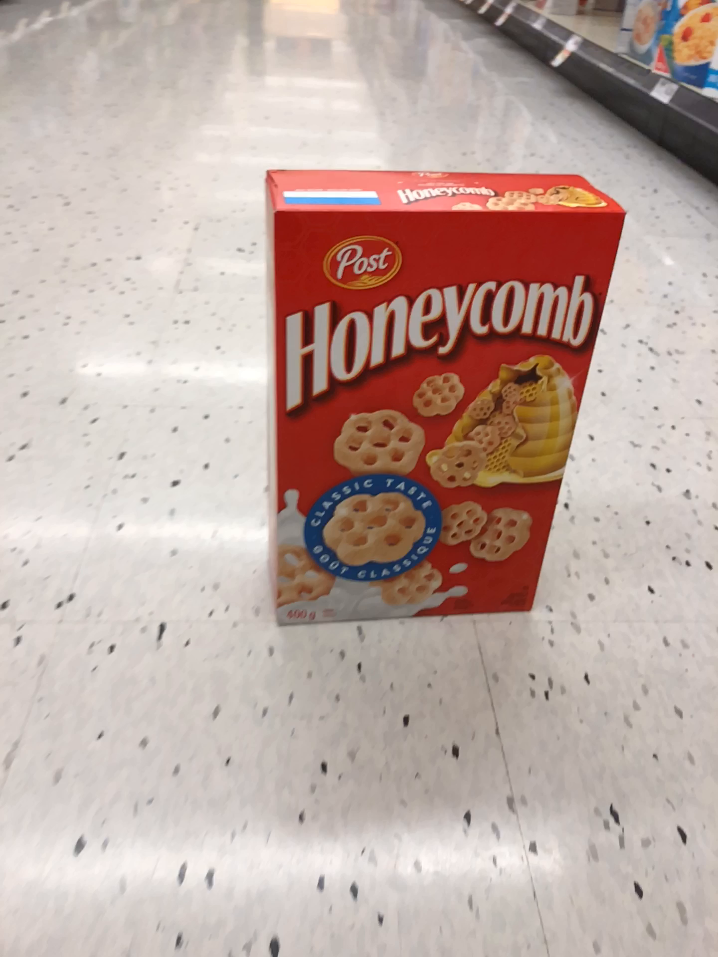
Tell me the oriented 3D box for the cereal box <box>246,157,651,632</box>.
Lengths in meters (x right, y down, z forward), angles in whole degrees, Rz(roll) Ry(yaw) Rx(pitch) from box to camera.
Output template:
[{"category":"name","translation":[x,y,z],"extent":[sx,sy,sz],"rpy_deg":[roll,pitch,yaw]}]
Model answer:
[{"category":"cereal box","translation":[0.035,-0.042,0.528],"extent":[0.210,0.298,0.091],"rpy_deg":[-2,36,-8]}]
